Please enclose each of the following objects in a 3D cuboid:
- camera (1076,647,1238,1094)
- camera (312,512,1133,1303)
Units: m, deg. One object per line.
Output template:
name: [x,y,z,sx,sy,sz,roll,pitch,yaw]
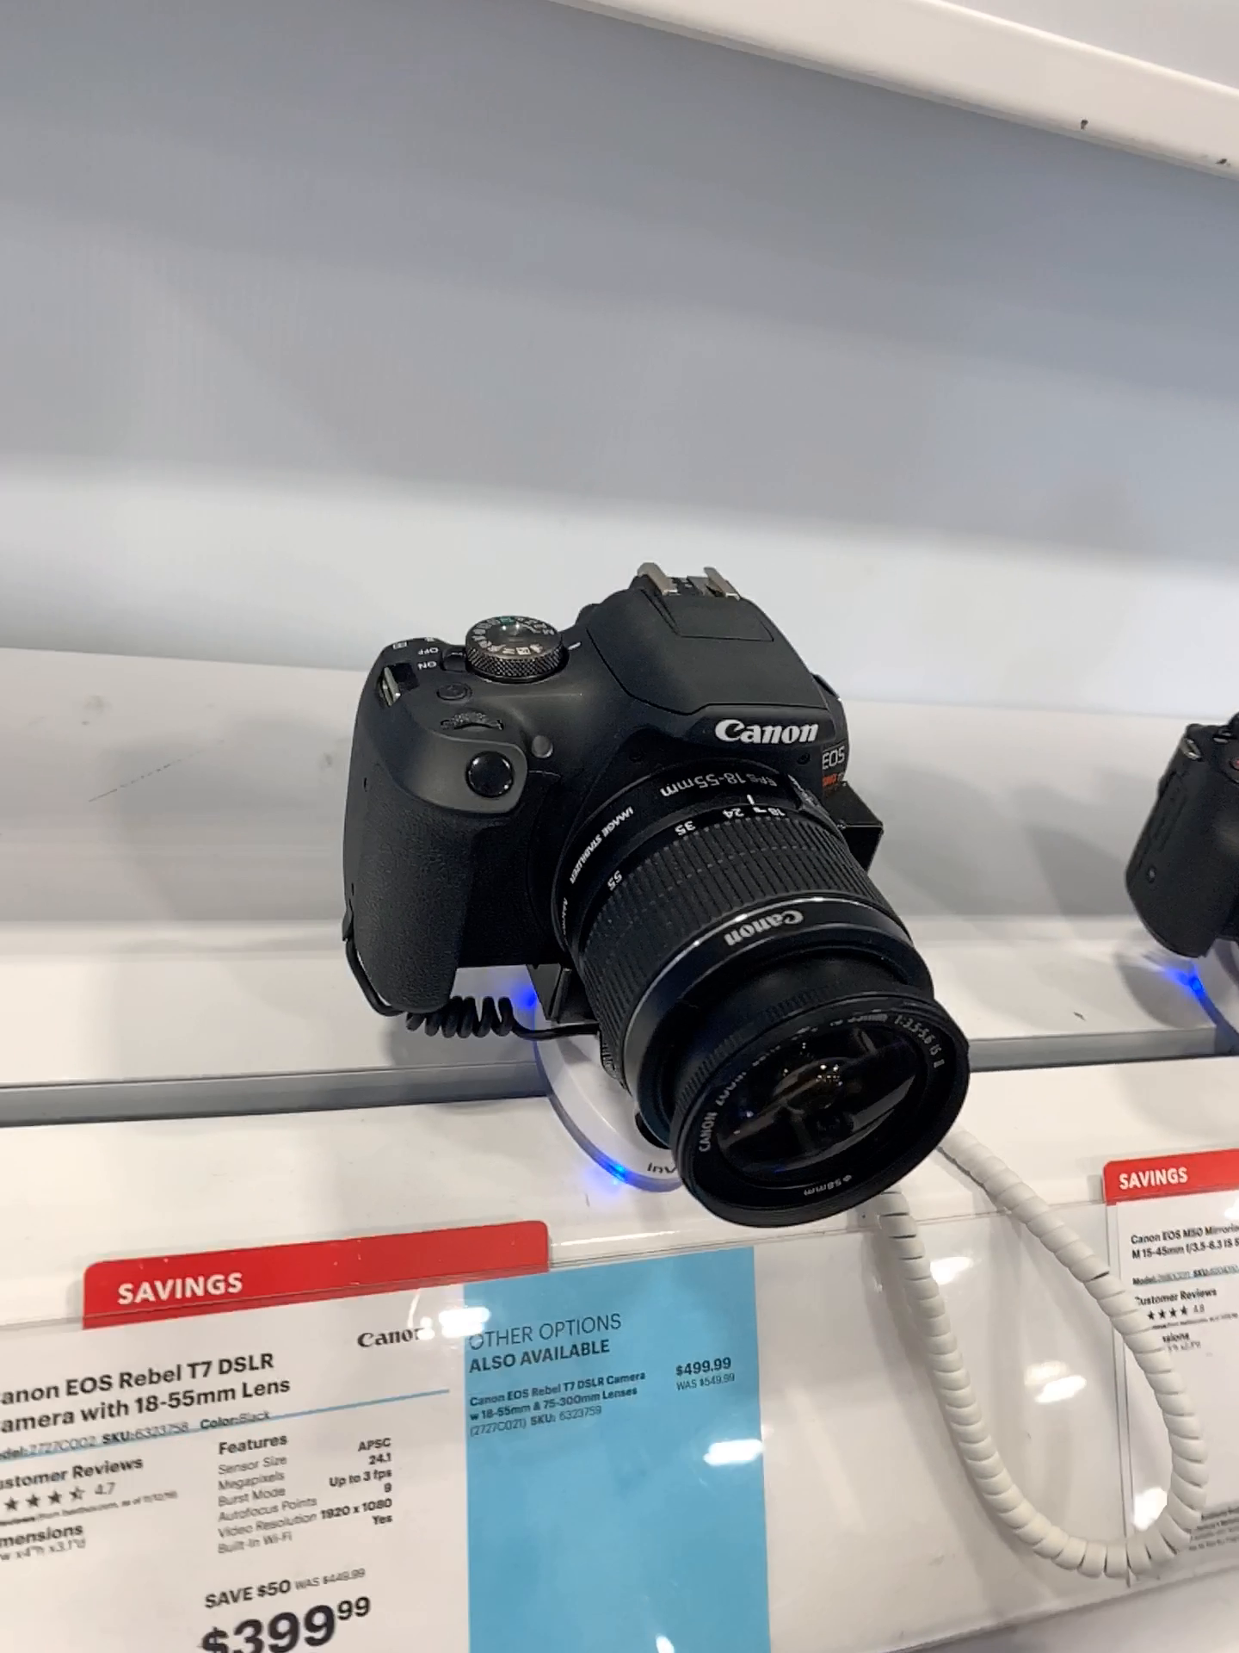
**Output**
camera: [0.230,0.012,0.390,0.121,0.080,0.103,6,33,-12]
camera: [0.004,0.008,0.291,0.125,0.099,0.141,0,35,-20]
